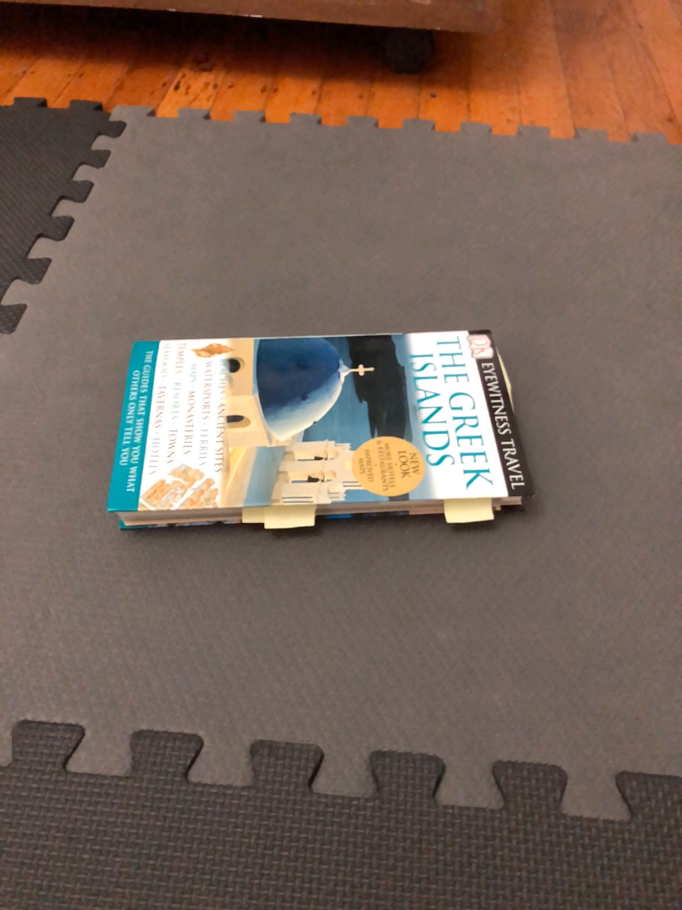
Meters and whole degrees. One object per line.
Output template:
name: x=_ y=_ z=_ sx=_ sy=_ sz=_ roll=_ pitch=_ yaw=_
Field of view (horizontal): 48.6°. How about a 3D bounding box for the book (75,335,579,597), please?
book: x=-0.008 y=-0.002 z=0.423 sx=0.240 sy=0.030 sz=0.161 roll=-1 pitch=49 yaw=-2
